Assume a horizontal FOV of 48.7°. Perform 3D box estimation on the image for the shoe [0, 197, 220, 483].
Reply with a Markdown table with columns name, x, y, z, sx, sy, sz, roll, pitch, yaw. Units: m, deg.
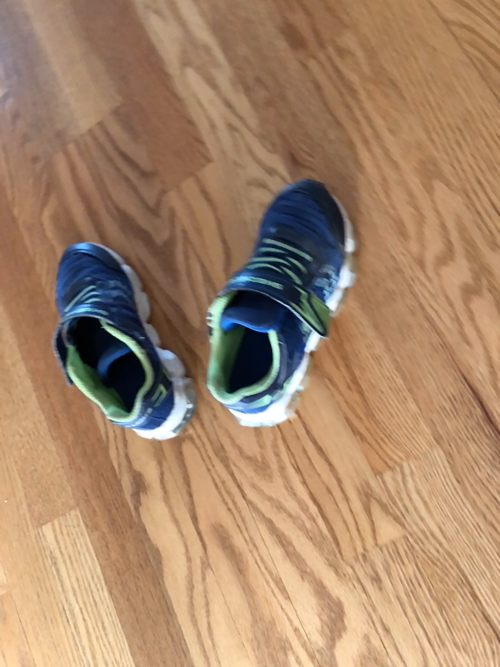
| name | x | y | z | sx | sy | sz | roll | pitch | yaw |
| --- | --- | --- | --- | --- | --- | --- | --- | --- | --- |
| shoe | -0.130 | 0.005 | 0.470 | 0.093 | 0.095 | 0.203 | -35 | 74 | 15 |

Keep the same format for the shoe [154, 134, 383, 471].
| name | x | y | z | sx | sy | sz | roll | pitch | yaw |
| --- | --- | --- | --- | --- | --- | --- | --- | --- | --- |
| shoe | 0.018 | -0.022 | 0.412 | 0.093 | 0.087 | 0.212 | 17 | 91 | 21 |
